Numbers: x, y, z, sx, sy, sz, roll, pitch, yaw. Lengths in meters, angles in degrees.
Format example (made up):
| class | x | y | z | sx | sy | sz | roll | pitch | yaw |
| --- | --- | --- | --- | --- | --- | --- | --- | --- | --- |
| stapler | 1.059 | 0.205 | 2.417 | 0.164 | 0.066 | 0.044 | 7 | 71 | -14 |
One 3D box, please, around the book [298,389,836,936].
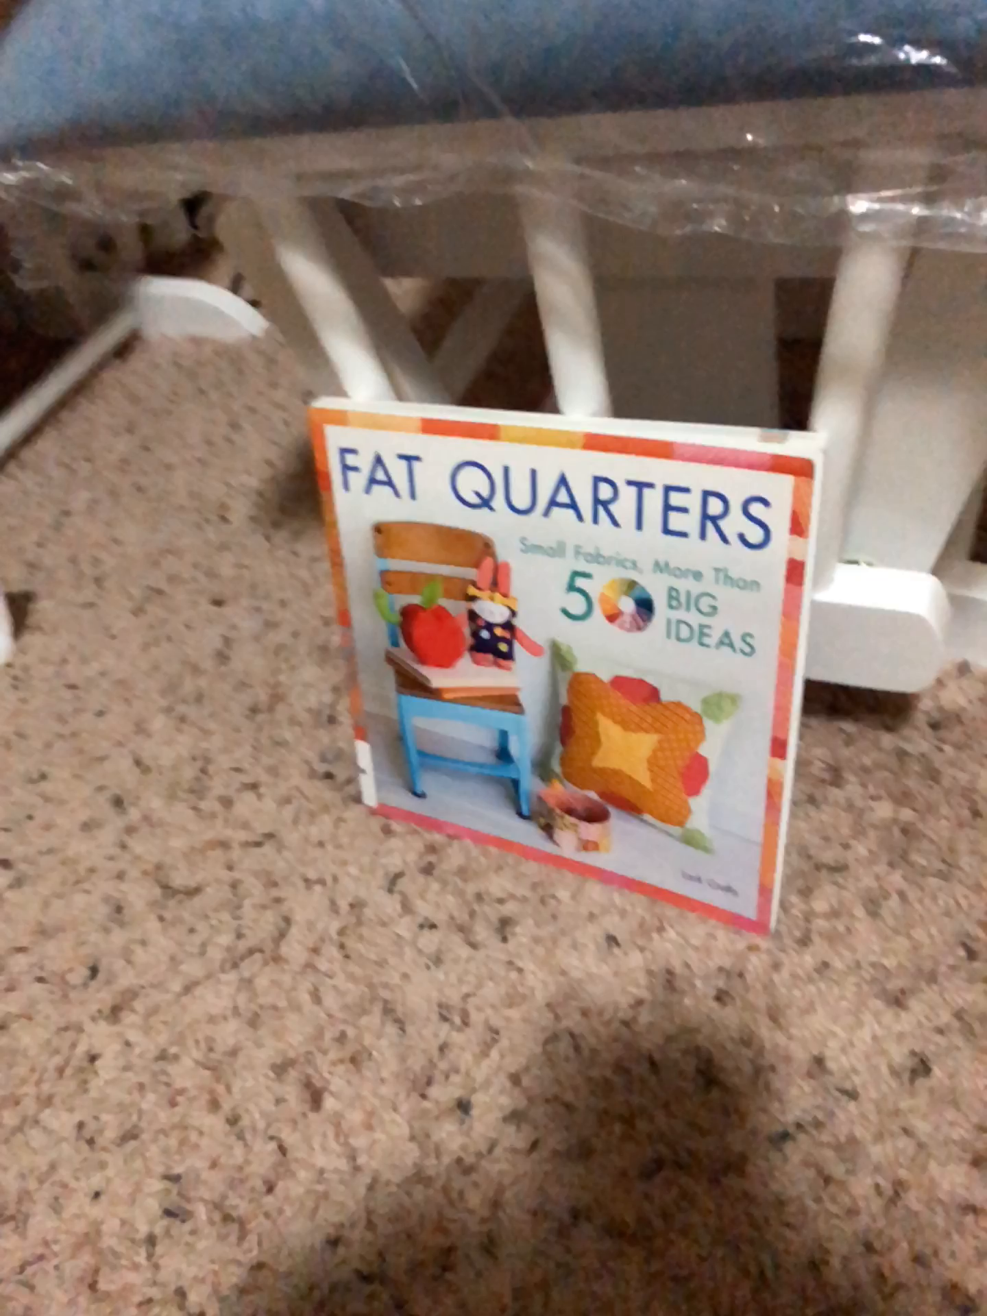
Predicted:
| class | x | y | z | sx | sy | sz | roll | pitch | yaw |
| --- | --- | --- | --- | --- | --- | --- | --- | --- | --- |
| book | 0.023 | -0.002 | 0.446 | 0.208 | 0.193 | 0.030 | 12 | 31 | 28 |
